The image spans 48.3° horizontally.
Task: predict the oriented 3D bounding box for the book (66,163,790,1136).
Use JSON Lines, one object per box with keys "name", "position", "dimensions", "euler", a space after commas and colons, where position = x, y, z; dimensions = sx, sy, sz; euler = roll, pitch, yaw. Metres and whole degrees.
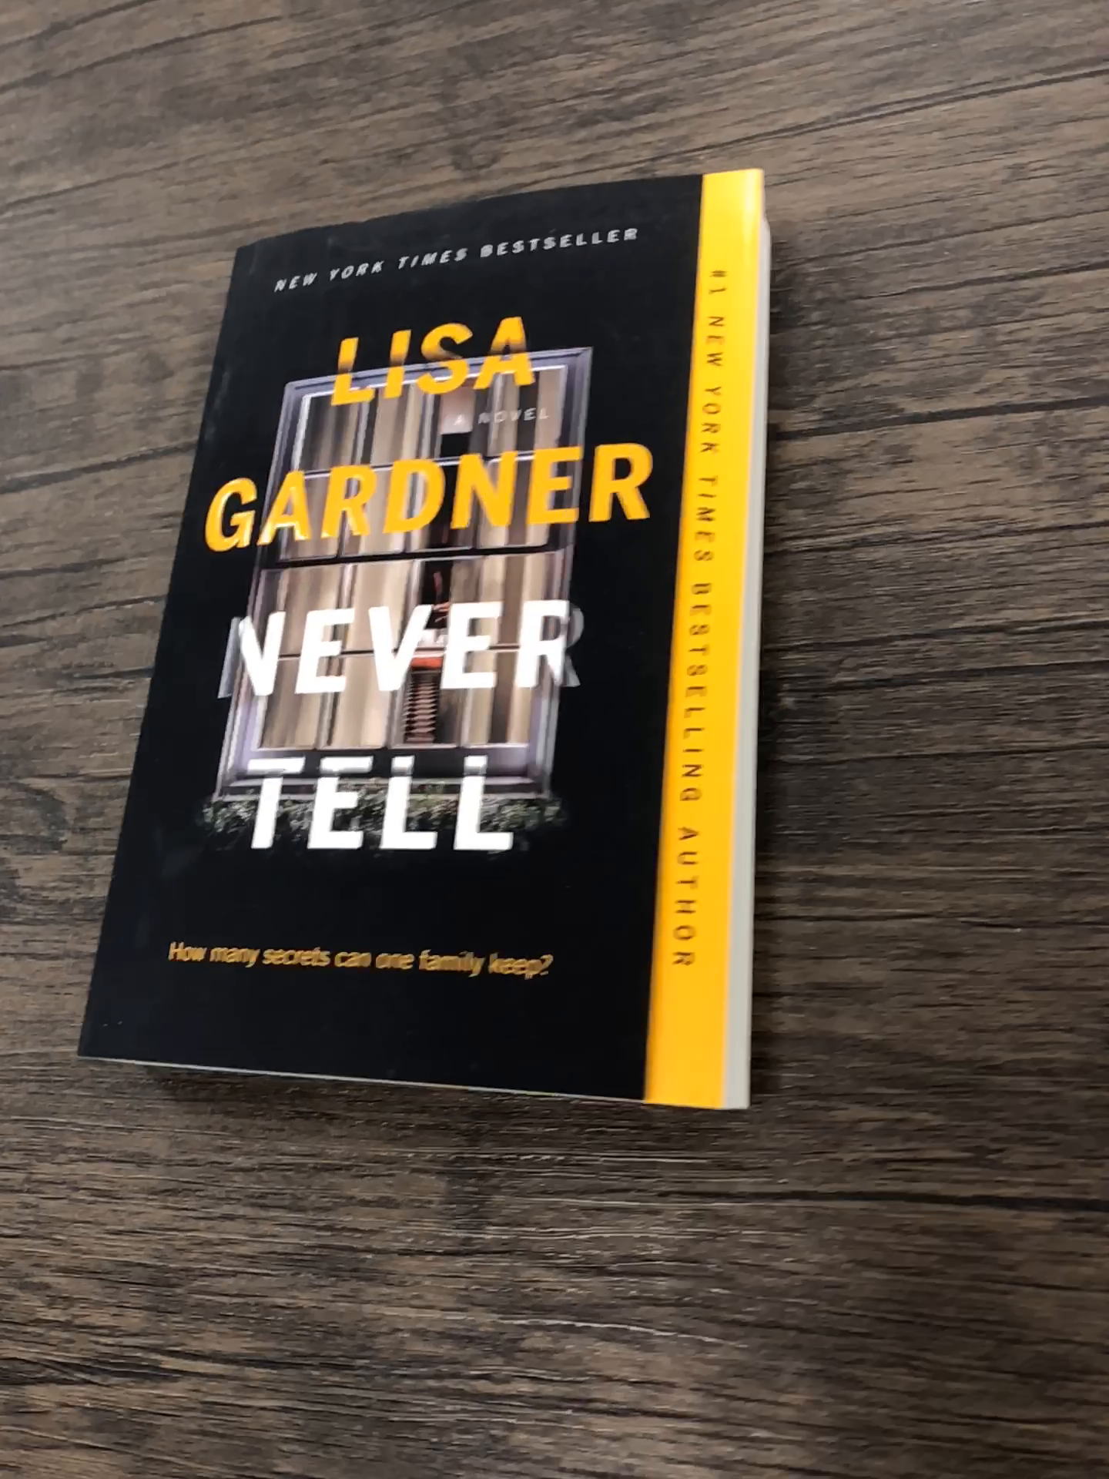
{"name": "book", "position": [-0.021, -0.026, 0.280], "dimensions": [0.137, 0.032, 0.207], "euler": [0, 71, 17]}
